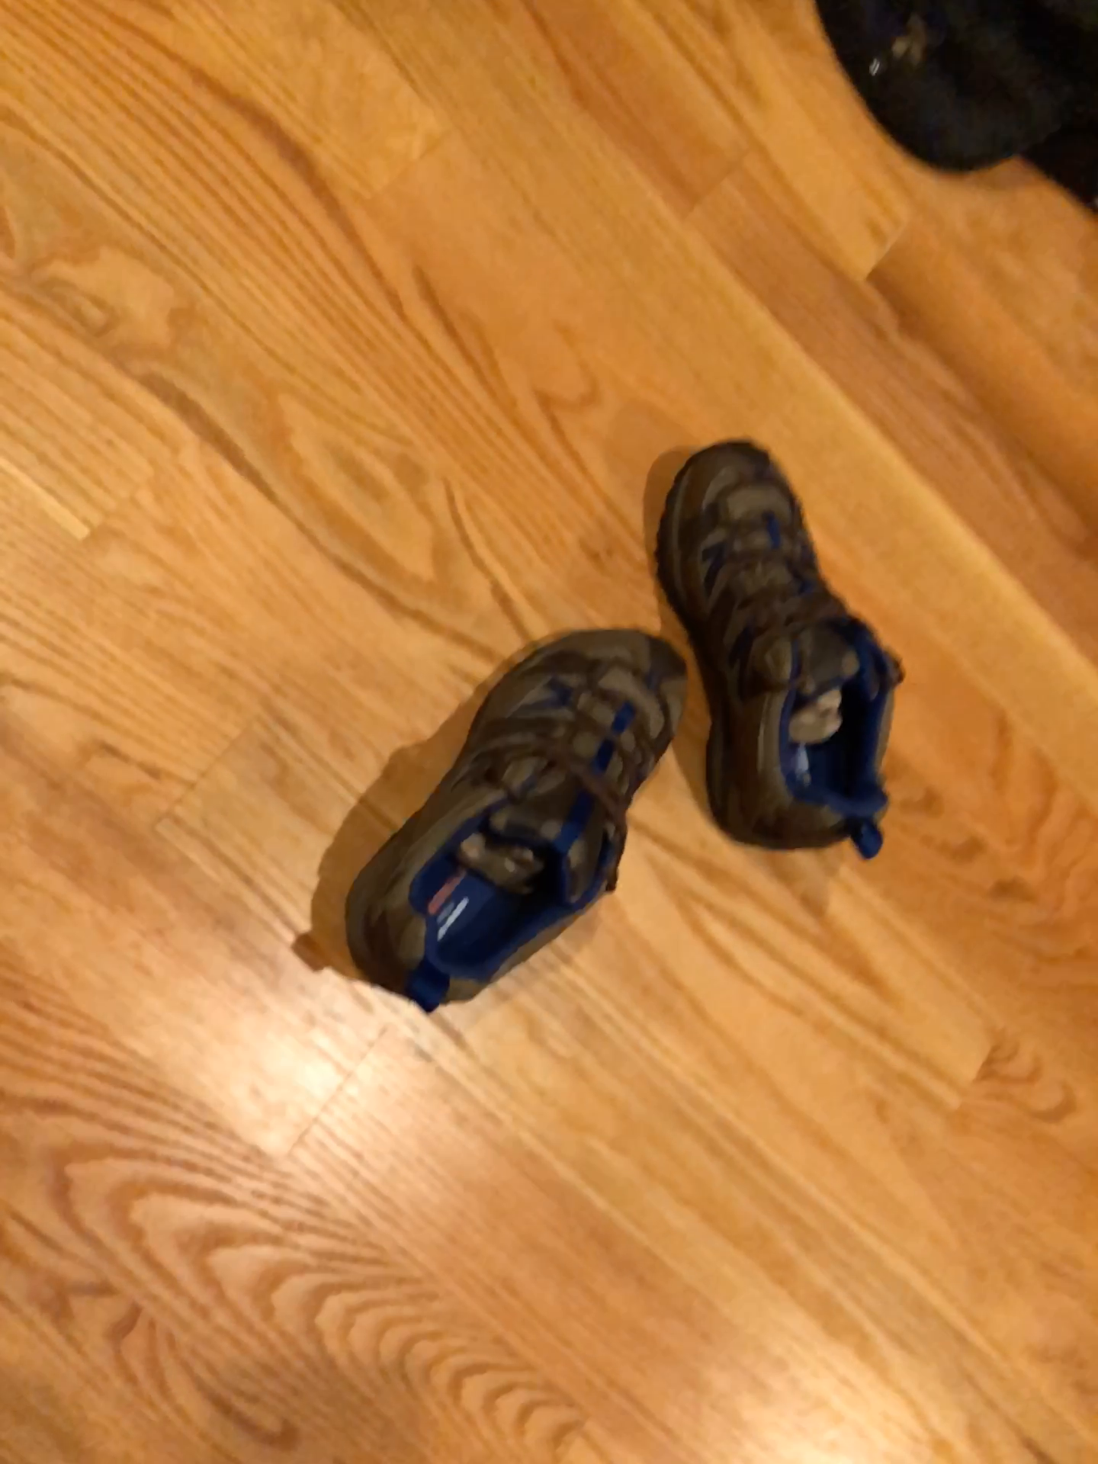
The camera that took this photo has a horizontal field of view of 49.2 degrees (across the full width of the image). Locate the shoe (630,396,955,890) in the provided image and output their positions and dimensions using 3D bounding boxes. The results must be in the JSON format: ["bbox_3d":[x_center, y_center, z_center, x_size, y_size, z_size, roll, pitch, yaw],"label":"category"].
[{"bbox_3d":[0.130,-0.047,0.665,0.097,0.094,0.252,-7,84,-24],"label":"shoe"}]

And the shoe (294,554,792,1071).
[{"bbox_3d":[-0.002,0.037,0.605,0.094,0.106,0.240,44,68,-11],"label":"shoe"}]
